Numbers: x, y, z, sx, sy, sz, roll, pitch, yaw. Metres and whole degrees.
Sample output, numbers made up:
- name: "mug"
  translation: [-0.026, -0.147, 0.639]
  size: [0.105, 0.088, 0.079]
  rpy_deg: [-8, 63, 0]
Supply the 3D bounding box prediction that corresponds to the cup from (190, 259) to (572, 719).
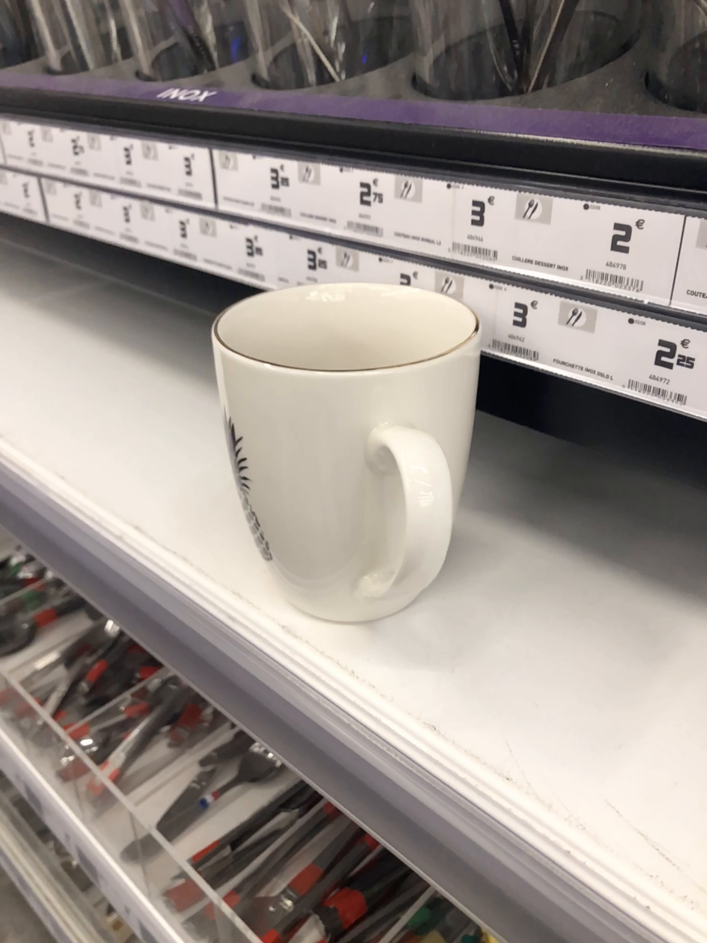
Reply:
- name: "cup"
  translation: [0.001, -0.005, 0.258]
  size: [0.082, 0.093, 0.115]
  rpy_deg: [-10, 30, -13]
